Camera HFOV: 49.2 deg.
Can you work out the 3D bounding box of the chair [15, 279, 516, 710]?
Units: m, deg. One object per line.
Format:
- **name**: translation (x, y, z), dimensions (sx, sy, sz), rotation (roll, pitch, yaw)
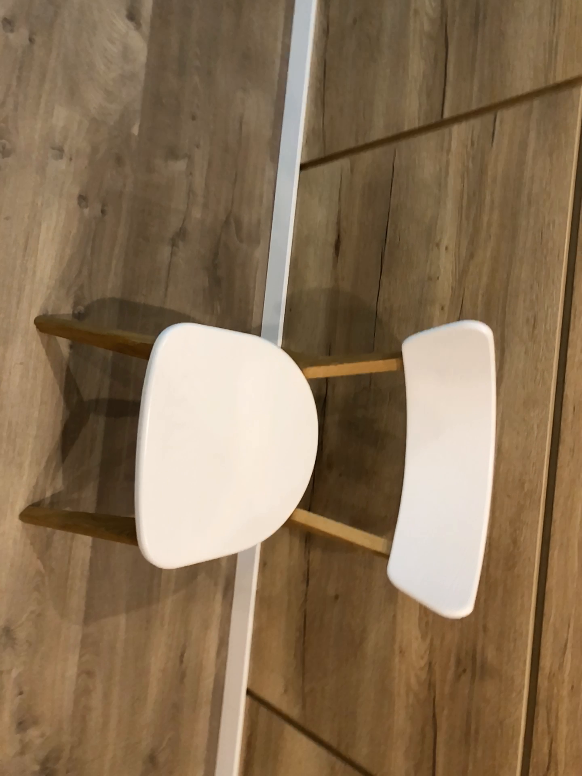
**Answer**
- **chair**: translation (-0.104, 0.109, 1.218), dimensions (0.533, 0.826, 0.500), rotation (2, 92, -41)
